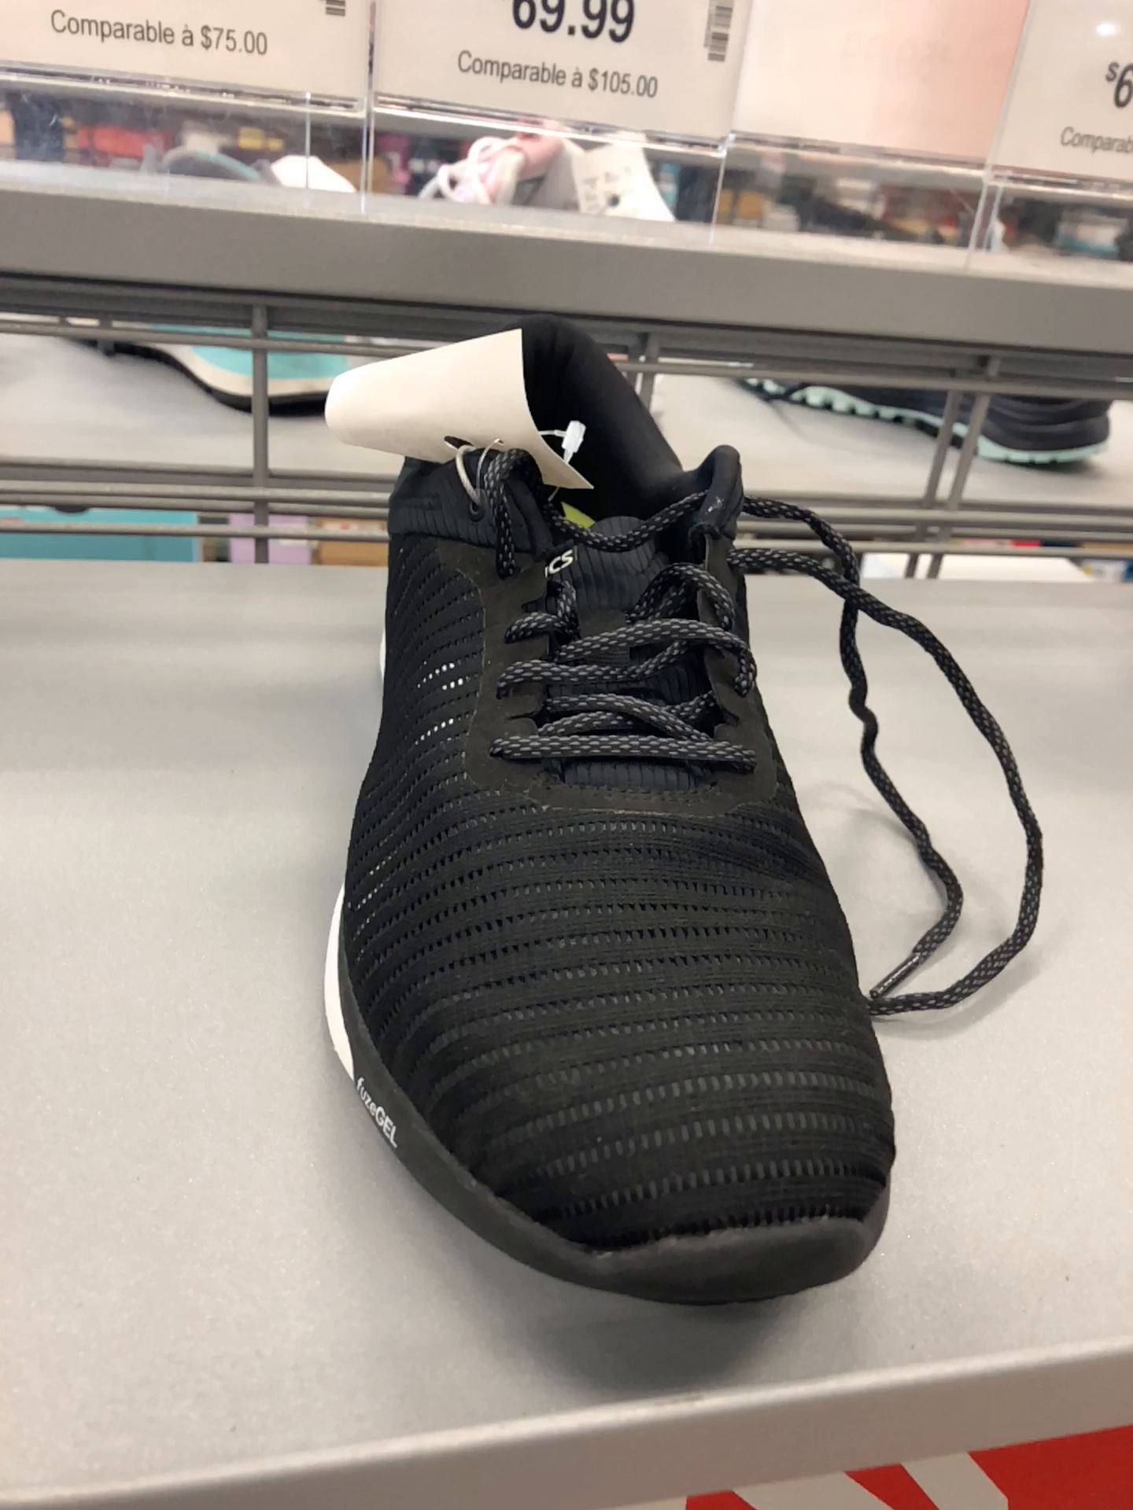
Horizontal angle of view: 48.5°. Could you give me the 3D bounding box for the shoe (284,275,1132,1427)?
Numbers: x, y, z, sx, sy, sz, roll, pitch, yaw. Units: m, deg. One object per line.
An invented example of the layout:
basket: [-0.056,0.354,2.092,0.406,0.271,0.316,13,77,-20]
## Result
shoe: [-0.004,-0.022,0.312,0.120,0.119,0.302,-1,31,-14]
